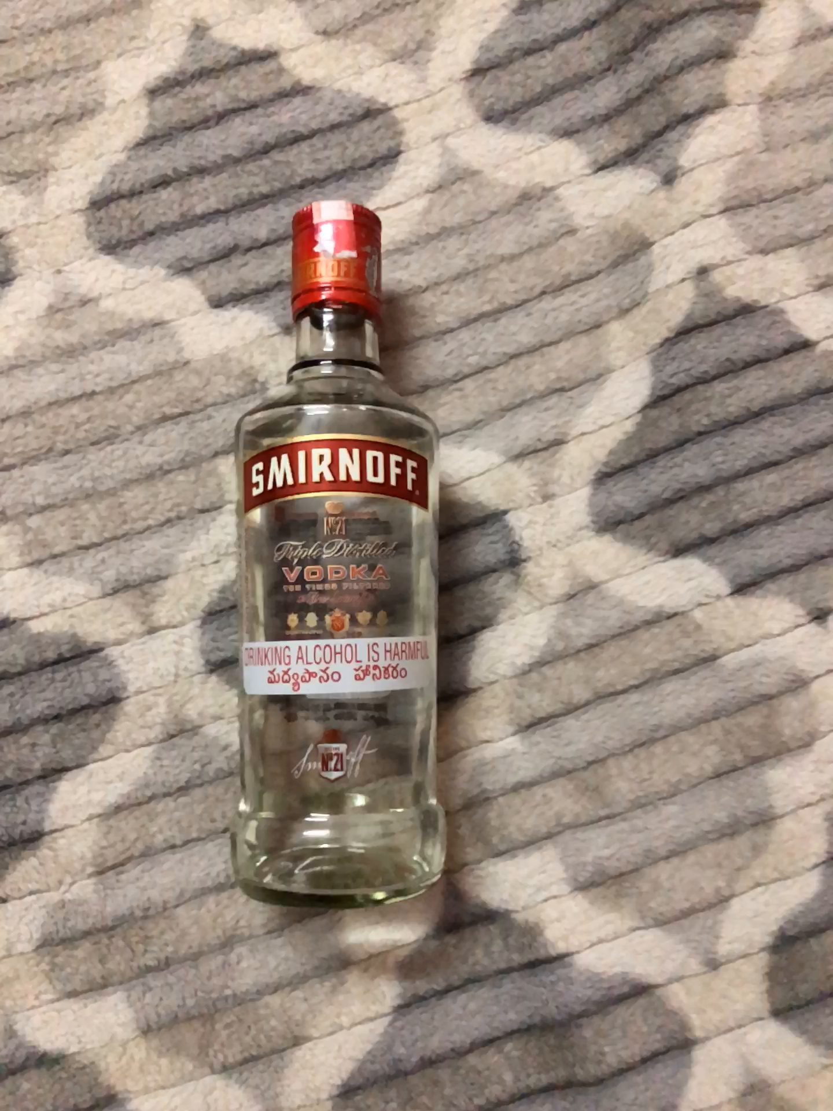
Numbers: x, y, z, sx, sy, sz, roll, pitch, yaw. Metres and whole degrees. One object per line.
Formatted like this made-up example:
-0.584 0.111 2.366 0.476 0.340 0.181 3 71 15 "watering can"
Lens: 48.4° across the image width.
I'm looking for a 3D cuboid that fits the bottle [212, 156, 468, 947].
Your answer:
-0.025 -0.004 0.299 0.070 0.060 0.230 0 82 -5 "bottle"
